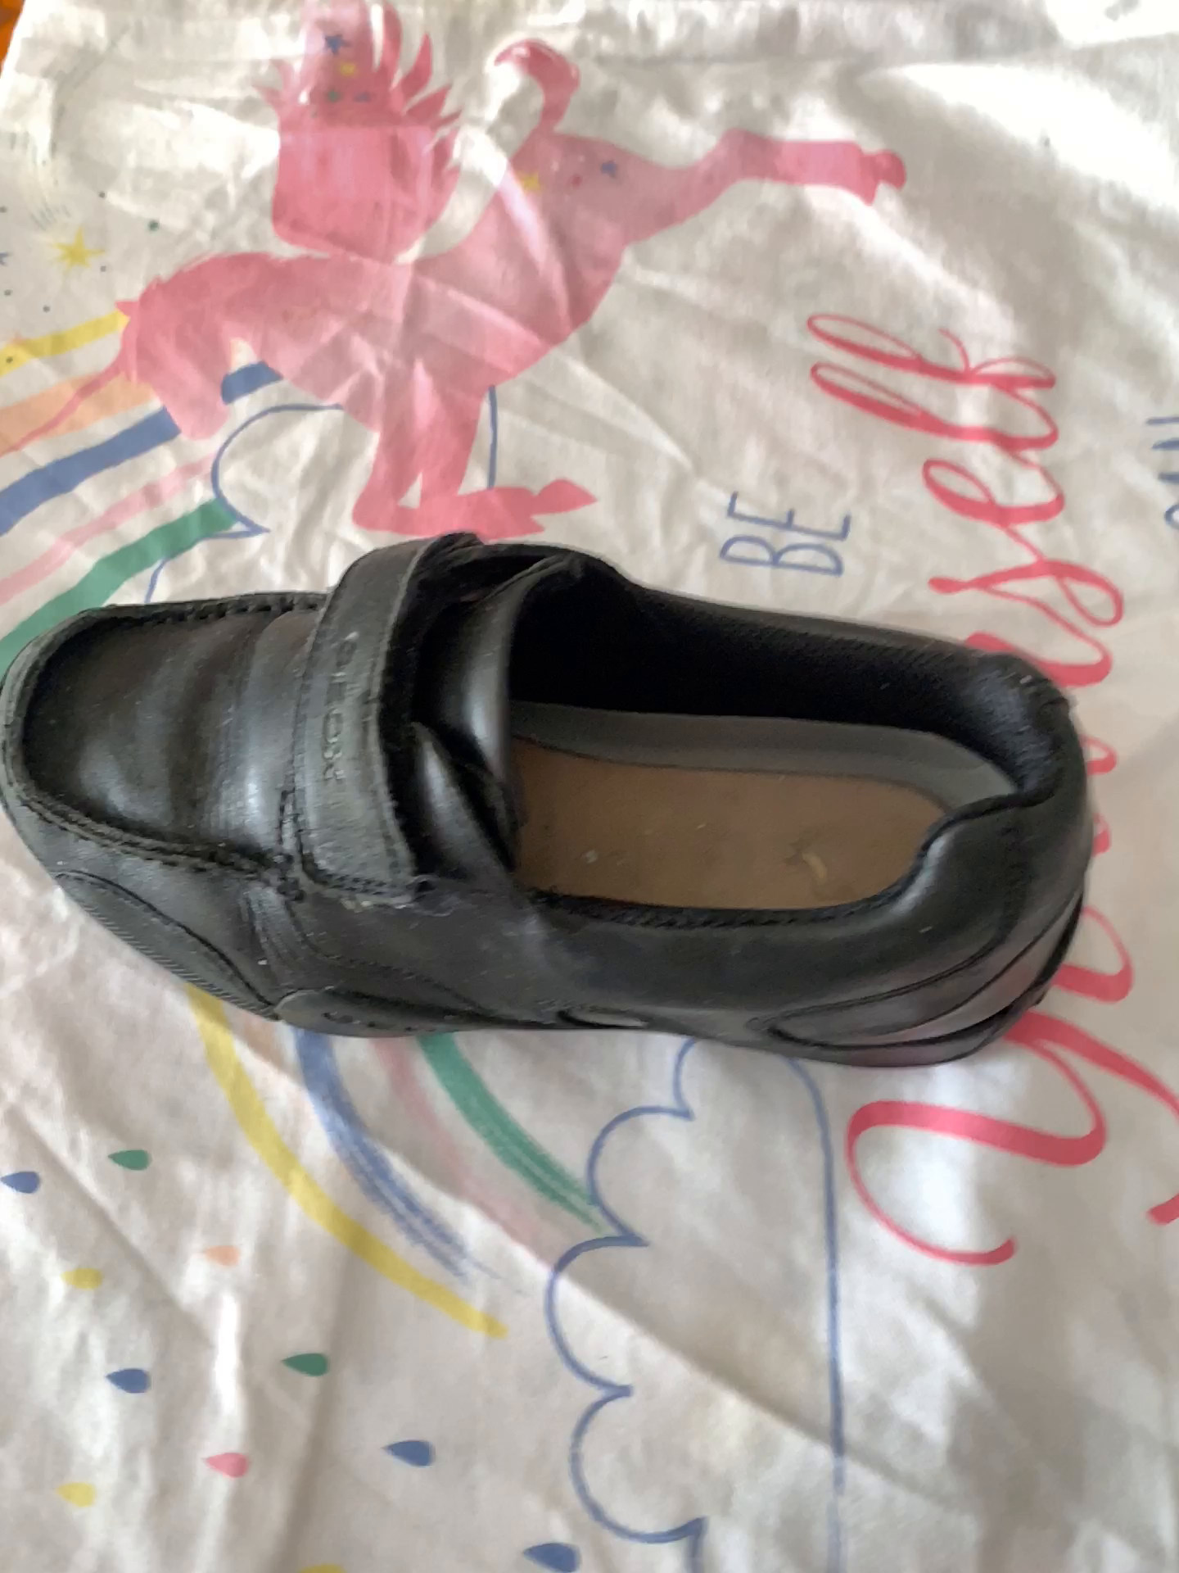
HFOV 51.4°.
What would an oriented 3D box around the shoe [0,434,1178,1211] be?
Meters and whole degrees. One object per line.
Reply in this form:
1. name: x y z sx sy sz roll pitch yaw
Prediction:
1. shoe: -0.016 0.016 0.251 0.220 0.139 0.080 9 68 11
